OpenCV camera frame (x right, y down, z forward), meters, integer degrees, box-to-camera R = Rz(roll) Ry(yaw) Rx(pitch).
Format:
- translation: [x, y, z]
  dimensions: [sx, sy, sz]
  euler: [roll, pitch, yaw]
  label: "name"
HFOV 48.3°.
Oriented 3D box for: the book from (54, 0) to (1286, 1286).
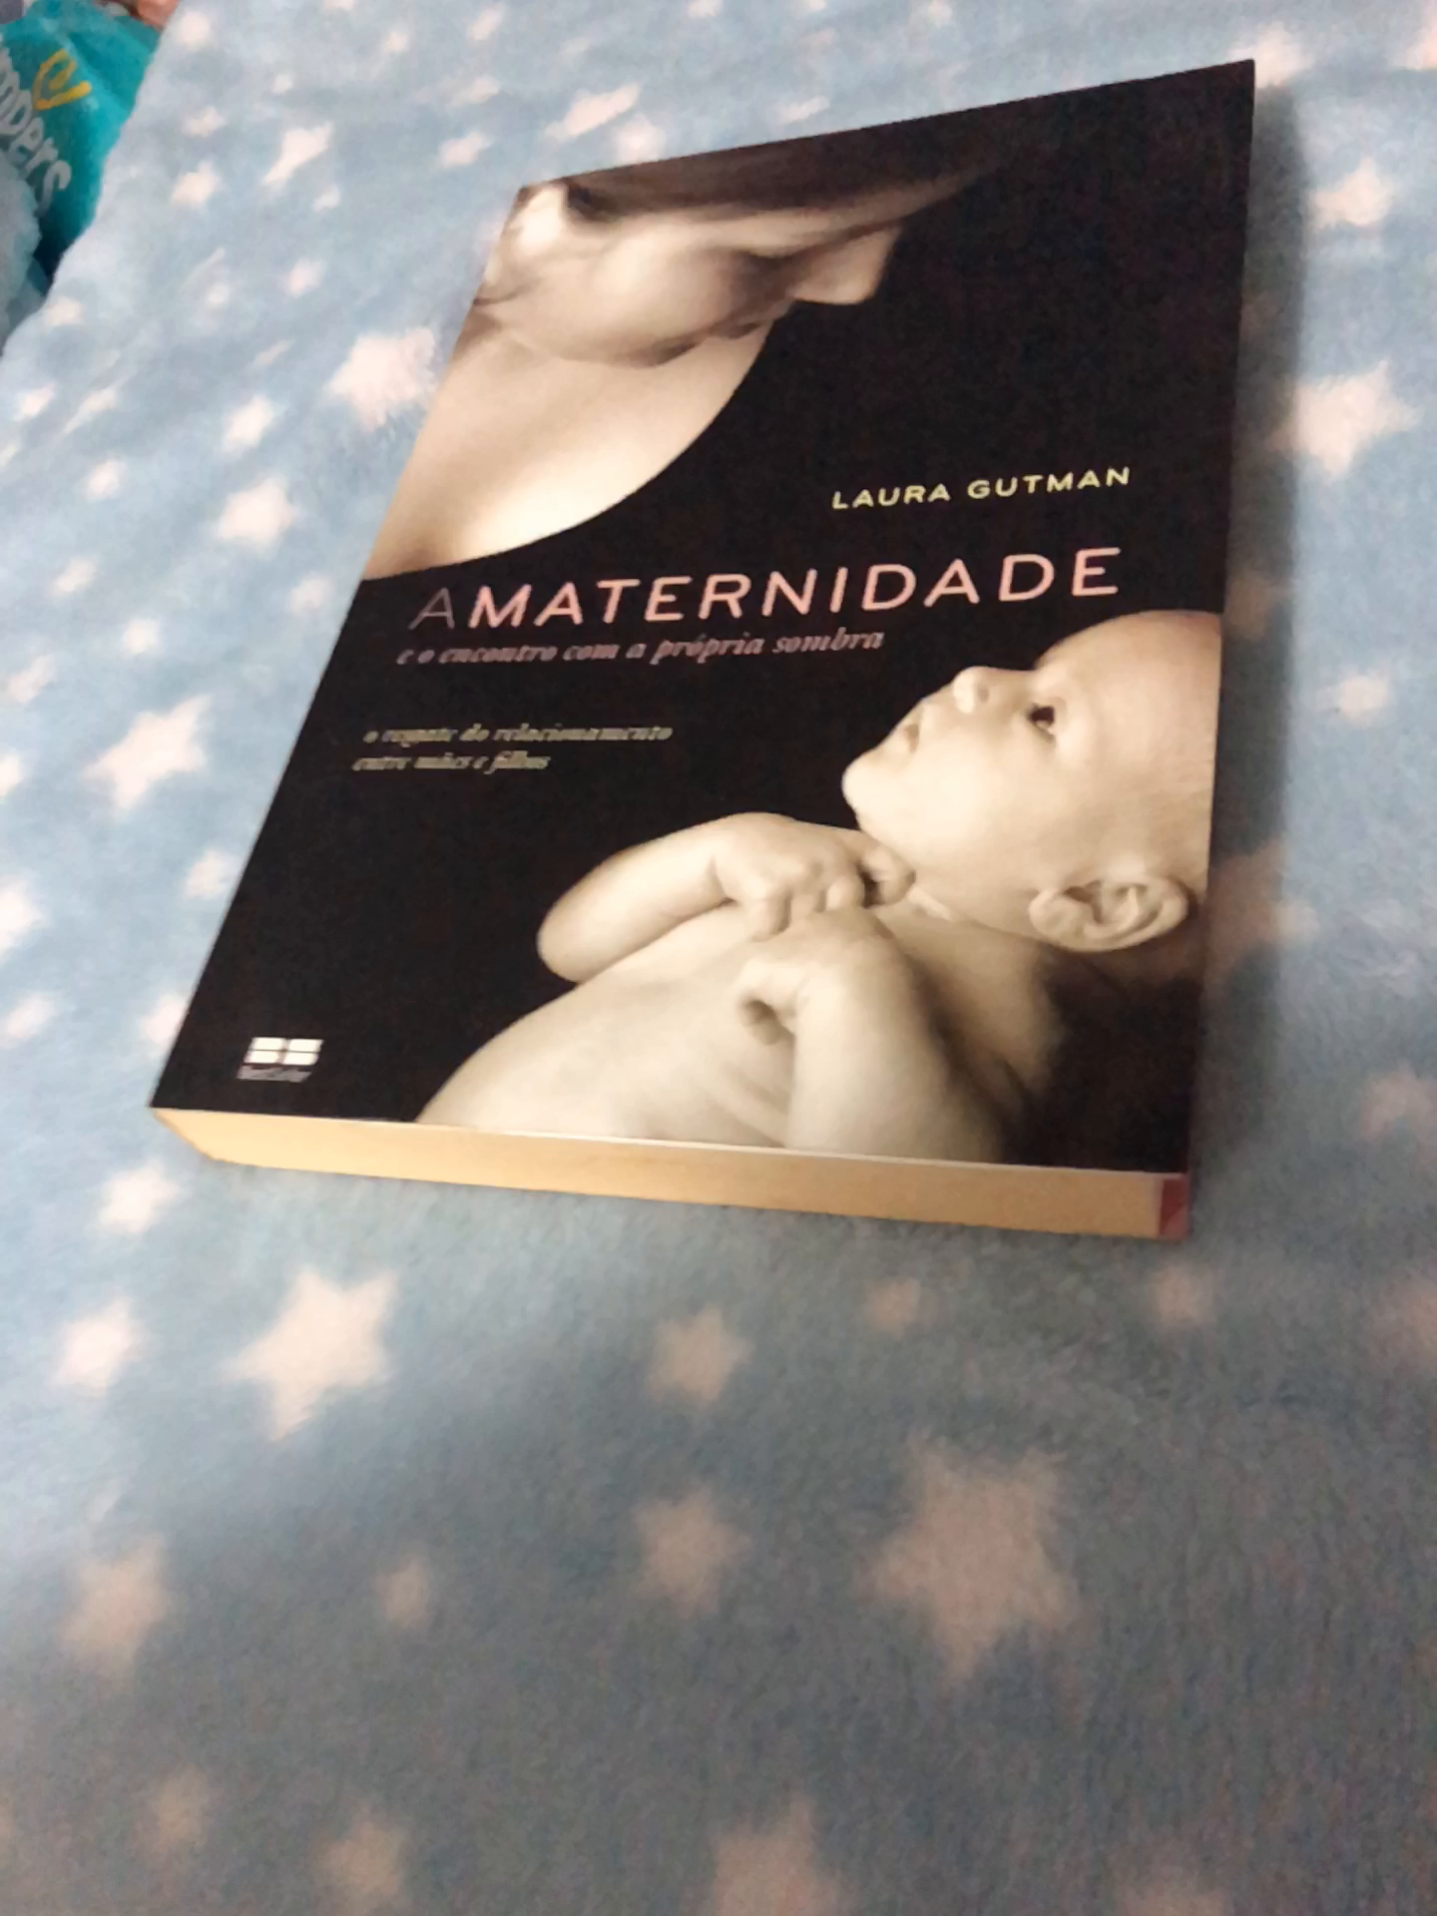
- translation: [0.008, -0.071, 0.274]
  dimensions: [0.160, 0.030, 0.241]
  euler: [1, 58, 21]
  label: "book"
